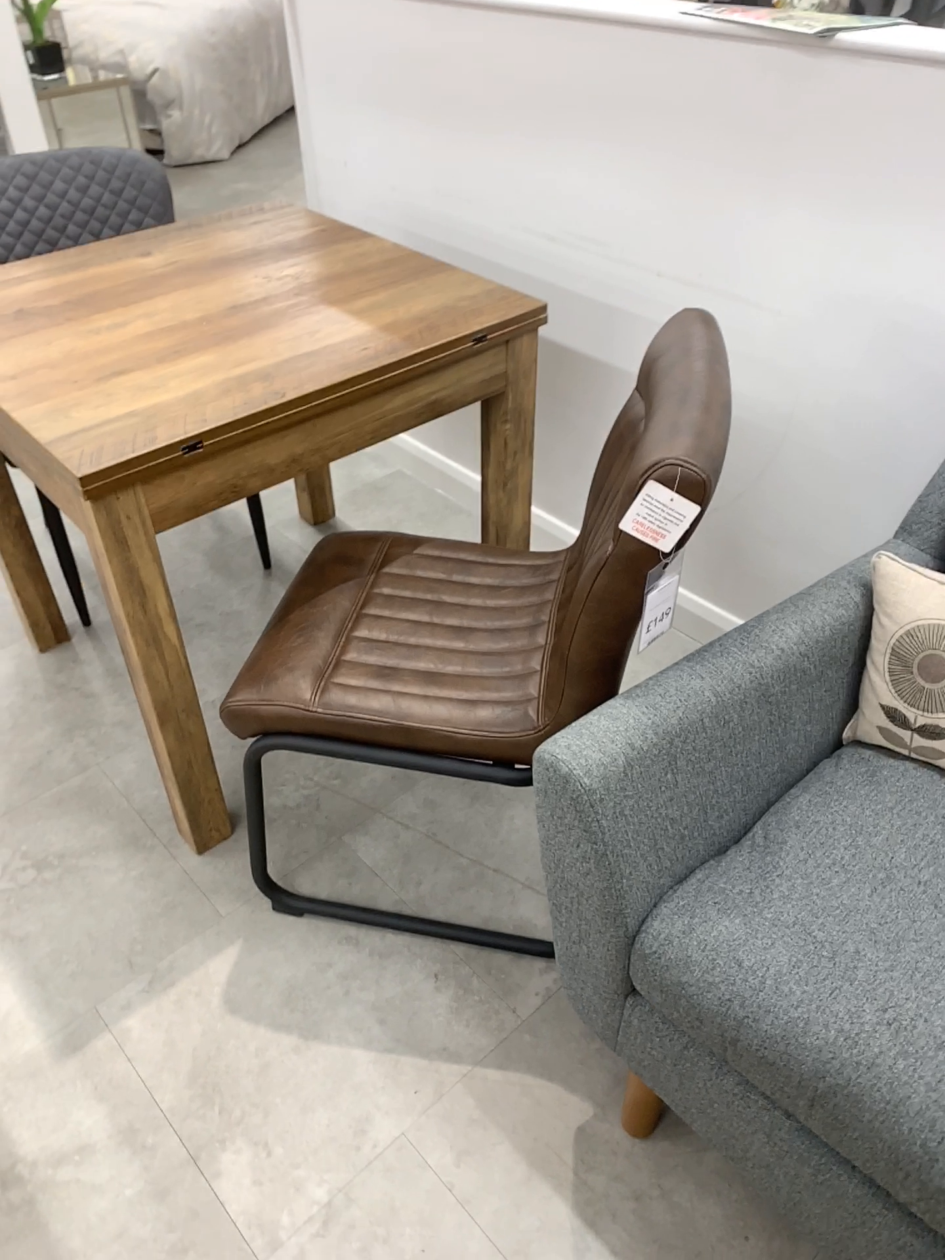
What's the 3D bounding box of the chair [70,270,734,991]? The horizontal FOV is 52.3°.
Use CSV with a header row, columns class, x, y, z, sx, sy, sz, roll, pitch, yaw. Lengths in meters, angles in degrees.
class,x,y,z,sx,sy,sz,roll,pitch,yaw
chair,-0.026,-0.001,1.325,0.632,0.773,0.502,7,40,11
